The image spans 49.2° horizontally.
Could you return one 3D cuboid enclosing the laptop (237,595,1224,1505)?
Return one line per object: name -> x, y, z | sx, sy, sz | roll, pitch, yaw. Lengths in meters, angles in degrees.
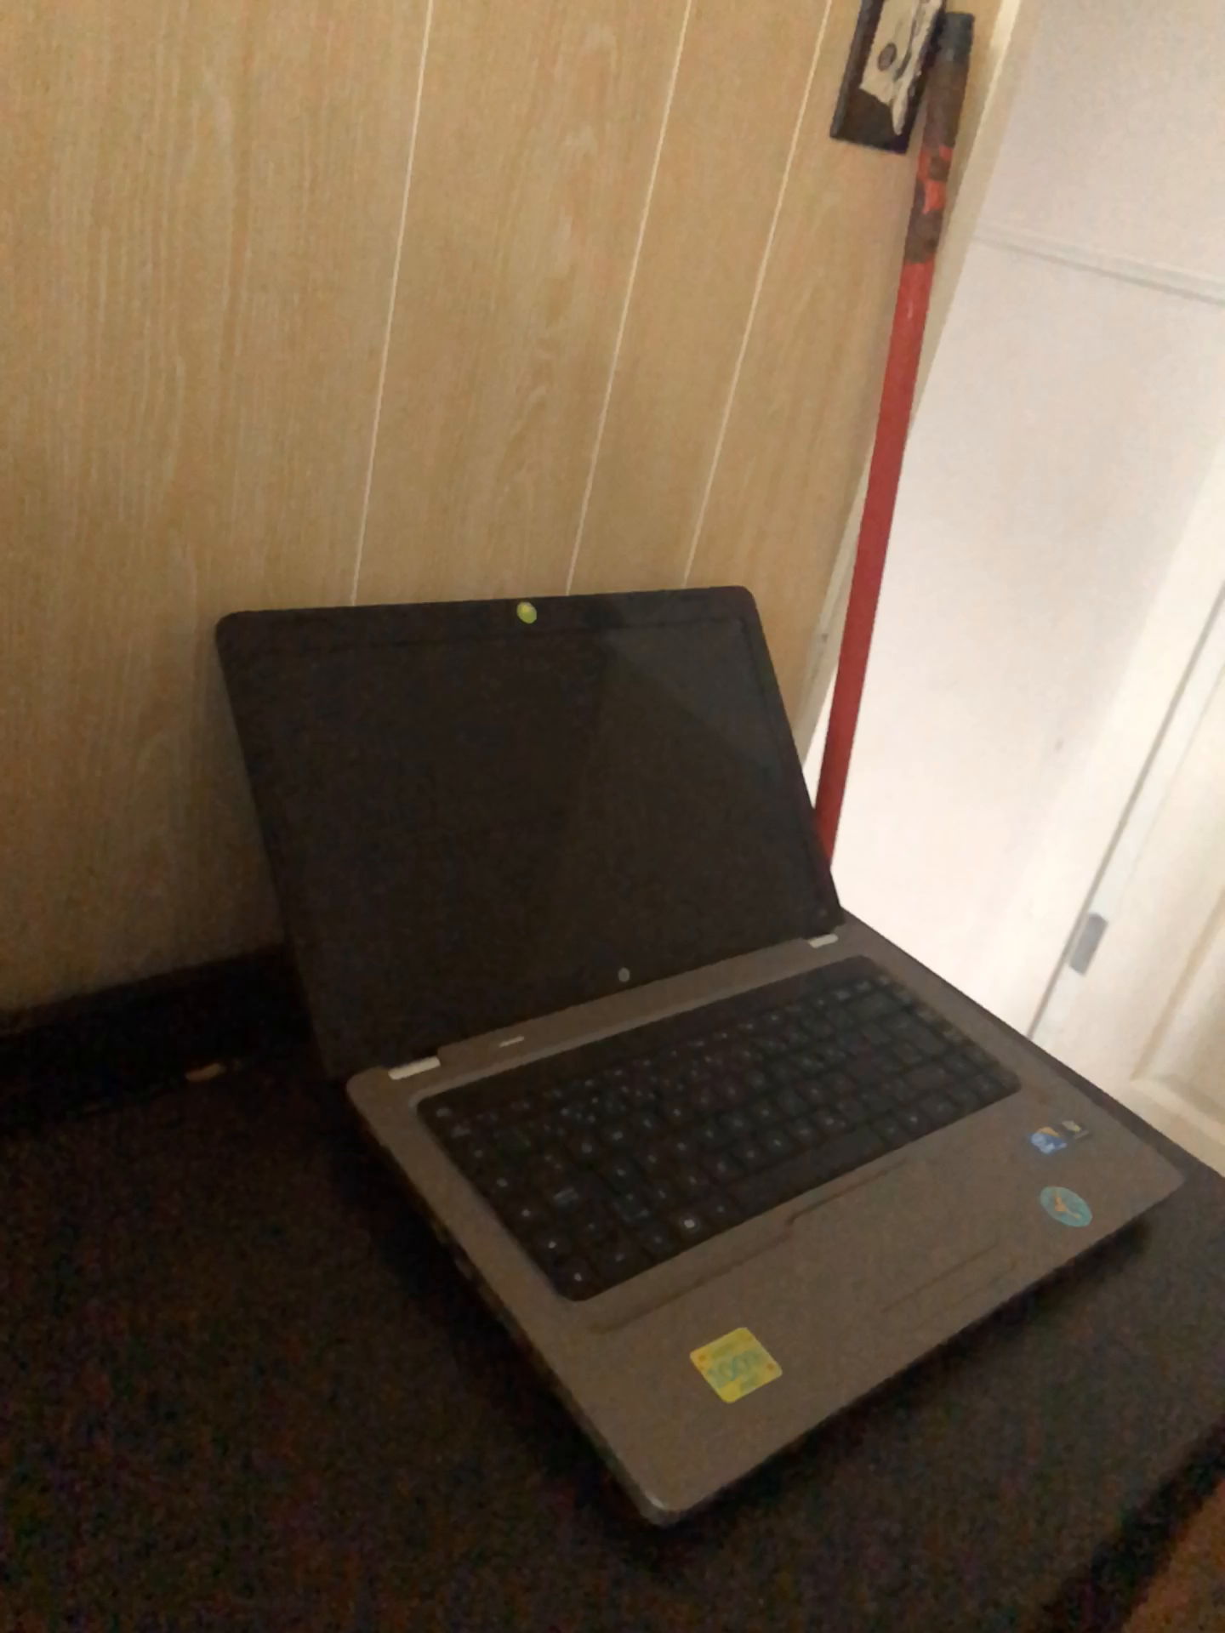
laptop -> 0.066, 0.052, 0.691 | 0.357, 0.166, 0.403 | -11, 37, -38
